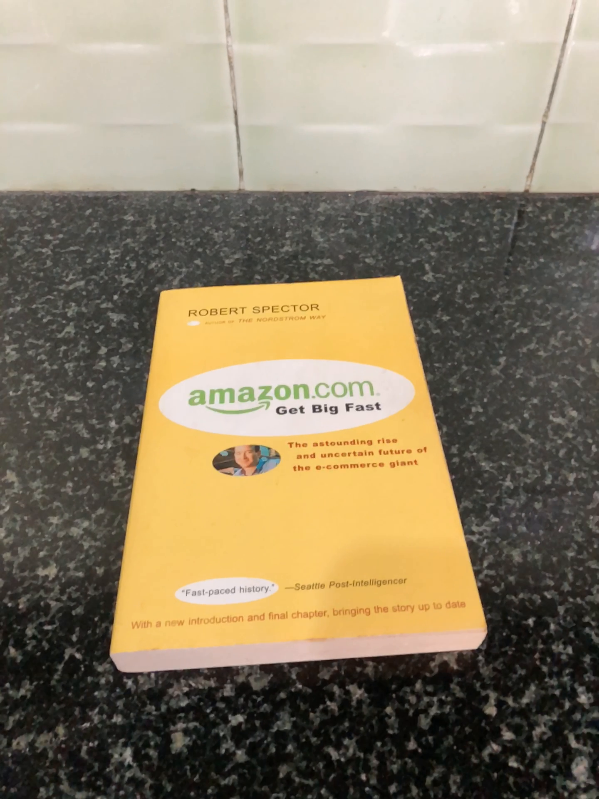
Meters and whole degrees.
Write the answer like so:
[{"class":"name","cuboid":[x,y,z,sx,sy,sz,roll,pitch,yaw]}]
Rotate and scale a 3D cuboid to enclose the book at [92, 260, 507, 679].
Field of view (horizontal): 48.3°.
[{"class":"book","cuboid":[-0.004,0.013,0.308,0.140,0.030,0.211,-2,47,-1]}]
